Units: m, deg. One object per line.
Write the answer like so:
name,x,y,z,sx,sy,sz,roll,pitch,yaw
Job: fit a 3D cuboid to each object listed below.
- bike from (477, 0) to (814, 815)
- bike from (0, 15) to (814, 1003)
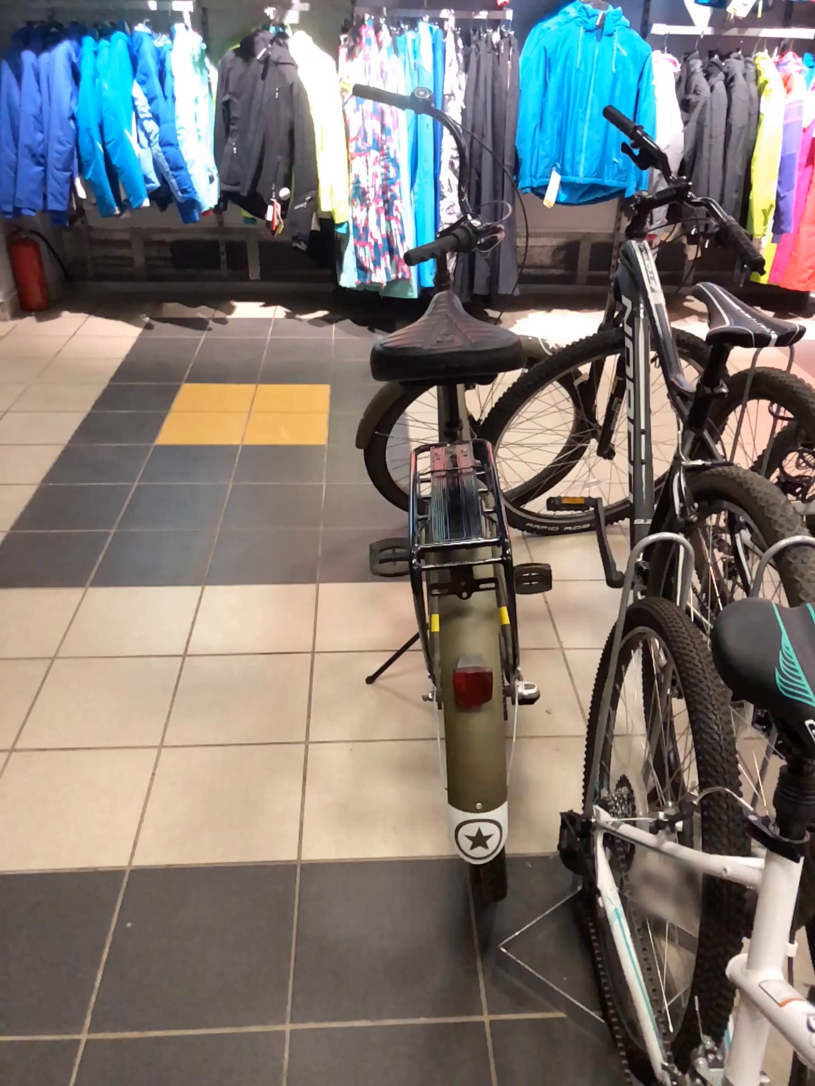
bike,0.597,-0.359,1.864,0.663,1.228,0.979,6,38,7
bike,0.214,-0.253,1.678,0.831,1.130,1.504,8,35,11
